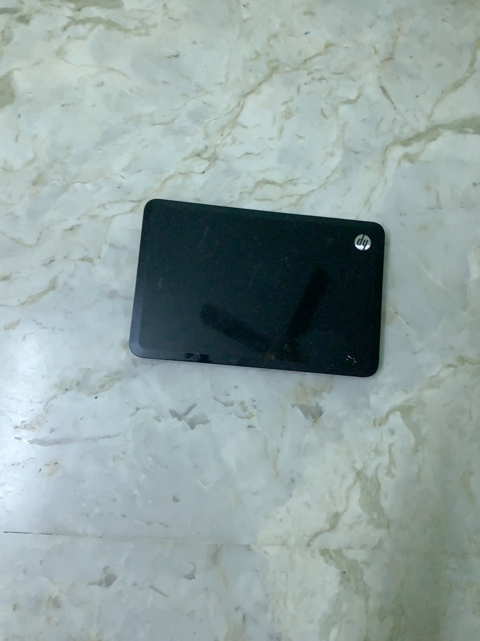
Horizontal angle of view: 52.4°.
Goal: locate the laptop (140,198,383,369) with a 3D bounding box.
[{"bbox_3d":[0.038,-0.055,0.703,0.332,0.022,0.221,5,75,-3],"label":"laptop"}]
